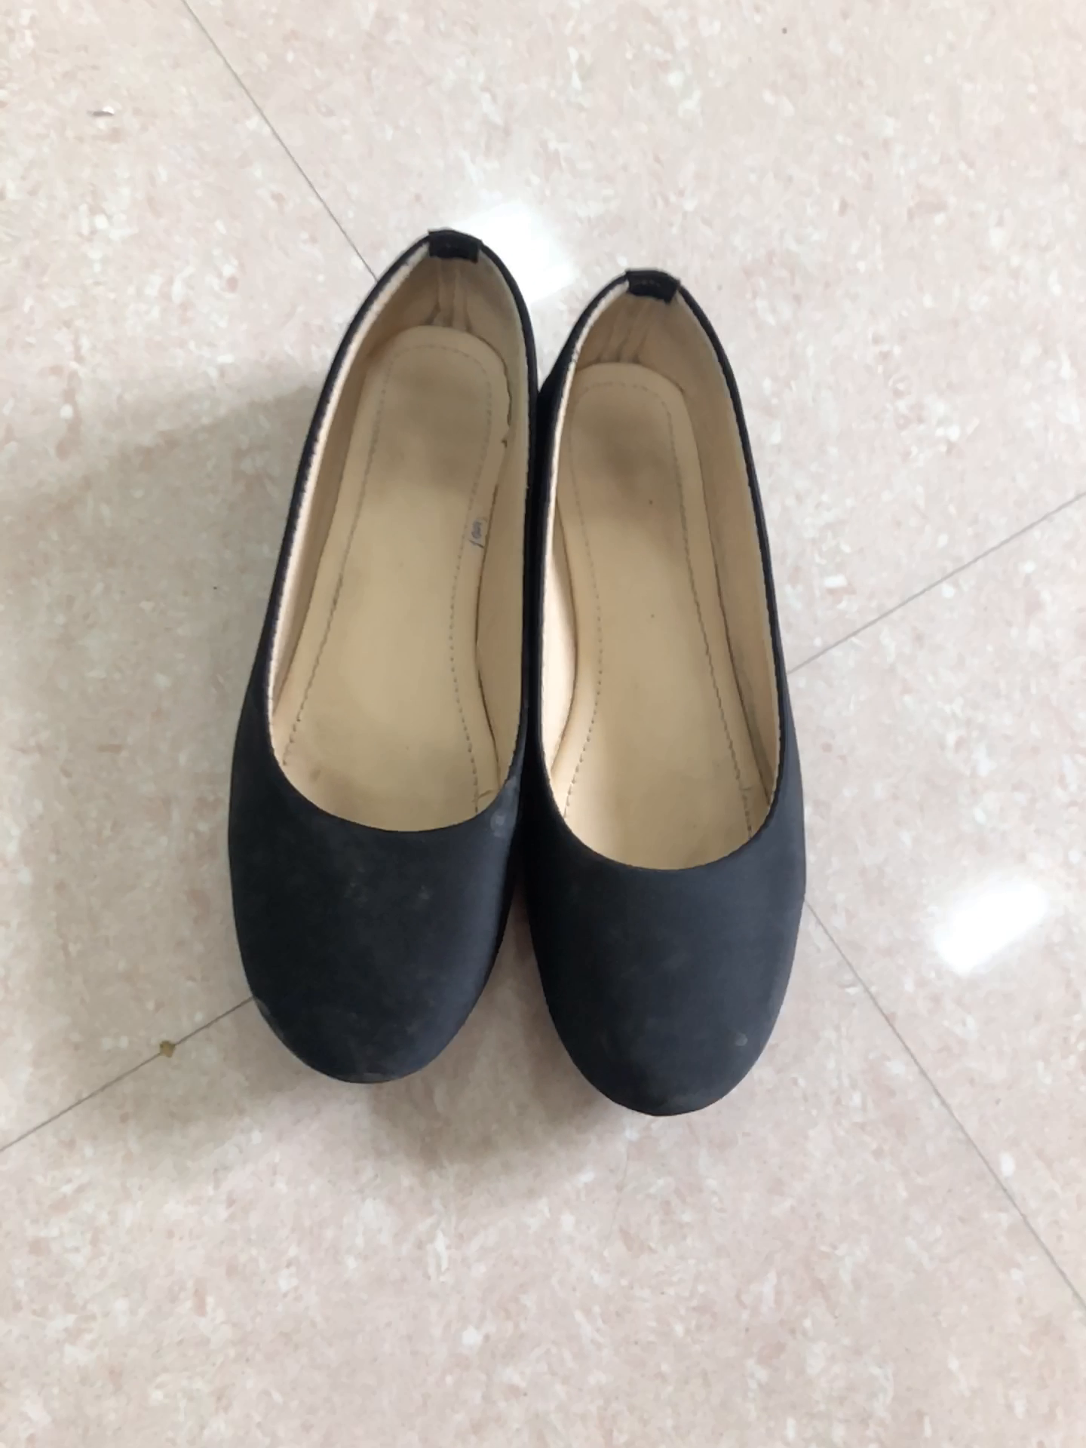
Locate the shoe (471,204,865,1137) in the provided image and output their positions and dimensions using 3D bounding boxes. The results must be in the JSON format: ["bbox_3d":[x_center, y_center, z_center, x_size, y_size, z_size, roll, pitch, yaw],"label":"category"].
[{"bbox_3d":[0.028,-0.017,0.342,0.090,0.060,0.250,2,75,-7],"label":"shoe"}]

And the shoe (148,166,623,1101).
[{"bbox_3d":[-0.038,-0.028,0.347,0.090,0.060,0.250,8,75,-5],"label":"shoe"}]
